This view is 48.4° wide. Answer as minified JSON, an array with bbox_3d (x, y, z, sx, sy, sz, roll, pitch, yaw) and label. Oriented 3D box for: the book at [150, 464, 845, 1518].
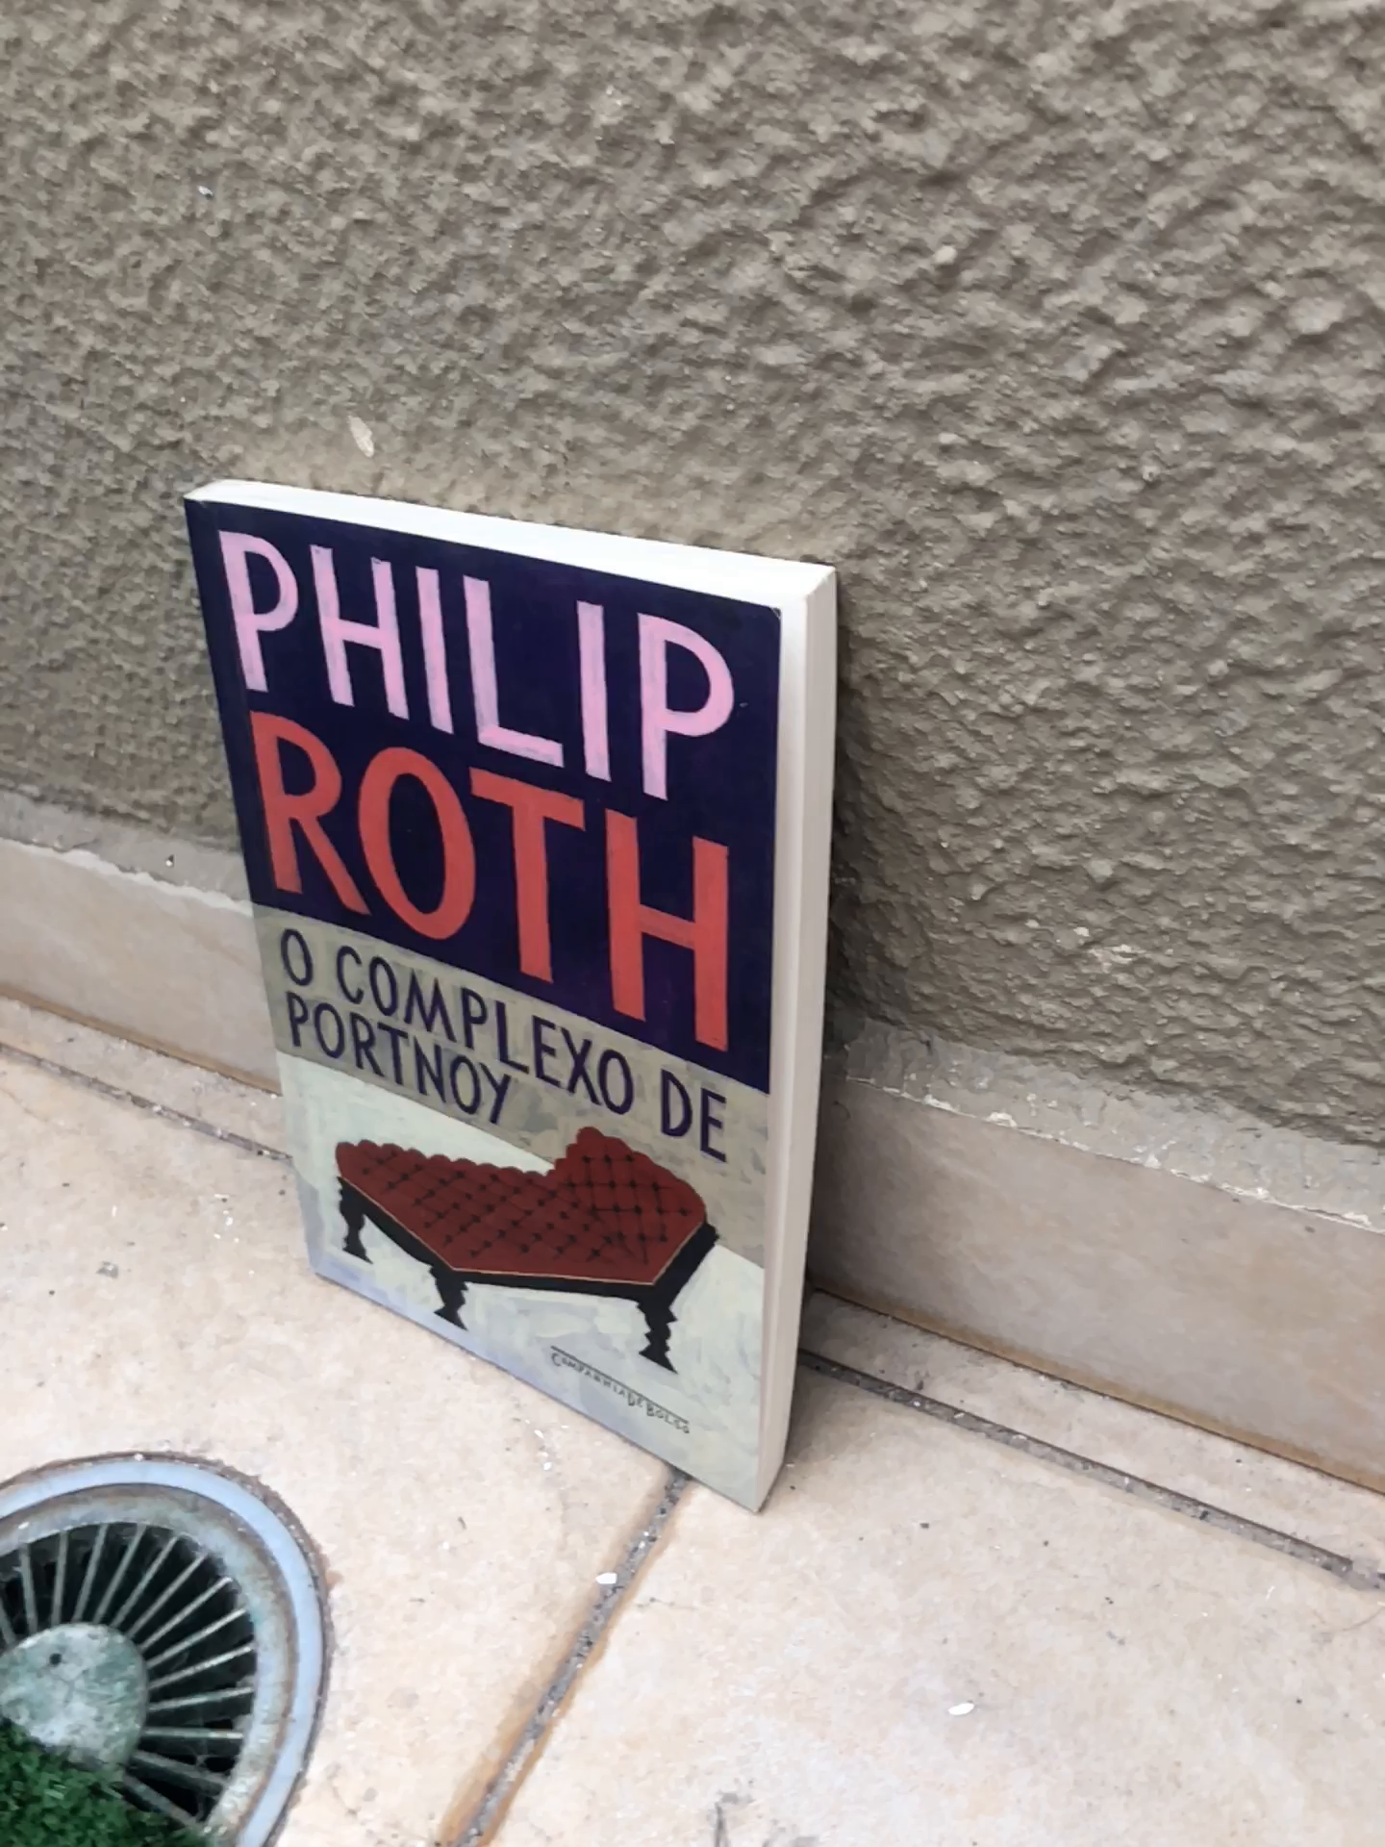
[{"bbox_3d":[-0.034,0.014,0.290,0.126,0.178,0.023,18,35,30],"label":"book"}]
